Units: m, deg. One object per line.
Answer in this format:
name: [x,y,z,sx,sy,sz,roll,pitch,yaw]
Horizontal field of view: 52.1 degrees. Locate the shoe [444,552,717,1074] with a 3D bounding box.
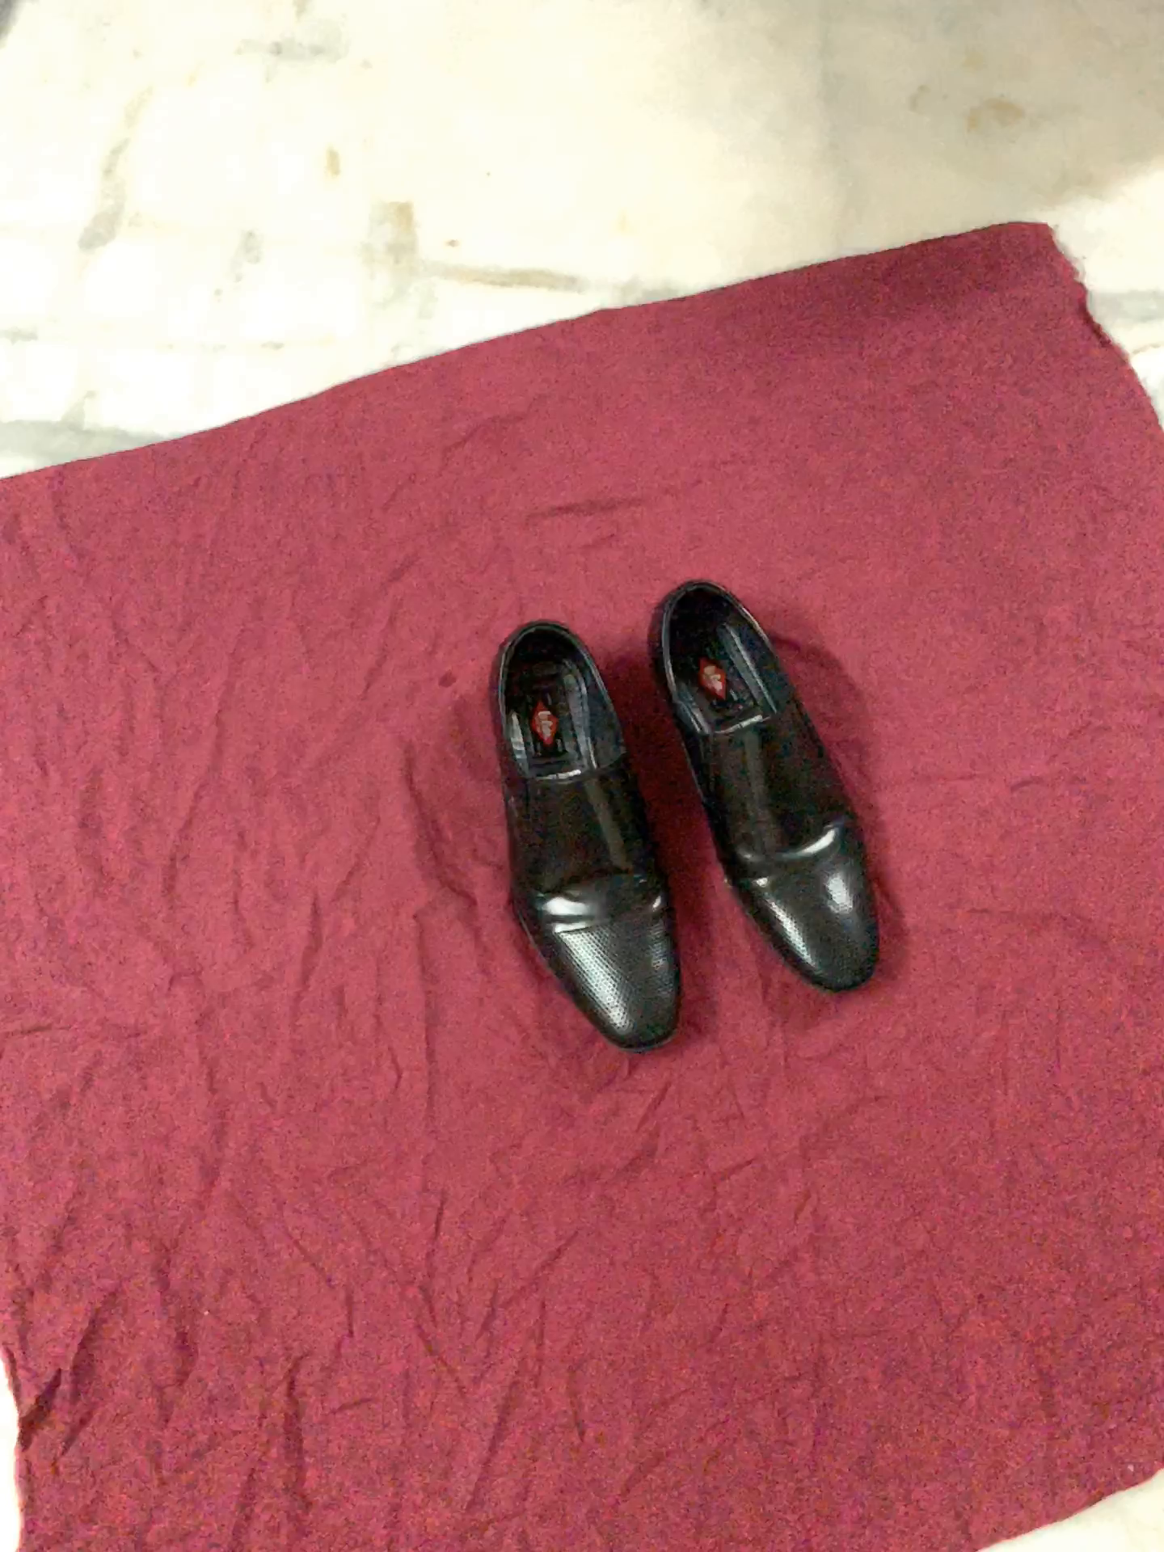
shoe: [-0.006,0.021,0.754,0.100,0.100,0.301,-12,68,-4]

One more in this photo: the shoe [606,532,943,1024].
shoe: [0.113,-0.001,0.780,0.100,0.100,0.291,-19,69,-6]
